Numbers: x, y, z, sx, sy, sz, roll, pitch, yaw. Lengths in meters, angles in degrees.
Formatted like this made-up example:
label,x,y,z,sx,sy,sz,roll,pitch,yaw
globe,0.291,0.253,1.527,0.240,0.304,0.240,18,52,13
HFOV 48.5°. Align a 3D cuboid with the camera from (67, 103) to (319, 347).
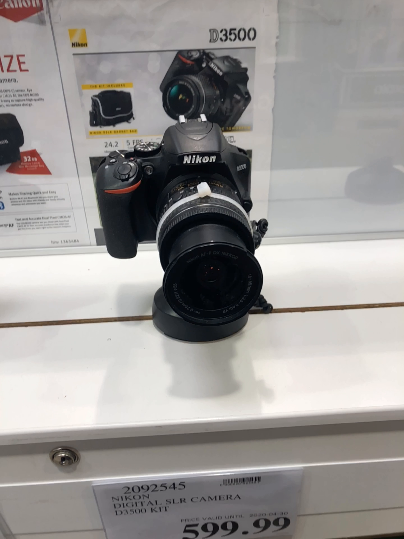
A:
label,x,y,z,sx,sy,sz,roll,pitch,yaw
camera,-0.014,-0.051,0.357,0.140,0.109,0.191,-5,32,-5
